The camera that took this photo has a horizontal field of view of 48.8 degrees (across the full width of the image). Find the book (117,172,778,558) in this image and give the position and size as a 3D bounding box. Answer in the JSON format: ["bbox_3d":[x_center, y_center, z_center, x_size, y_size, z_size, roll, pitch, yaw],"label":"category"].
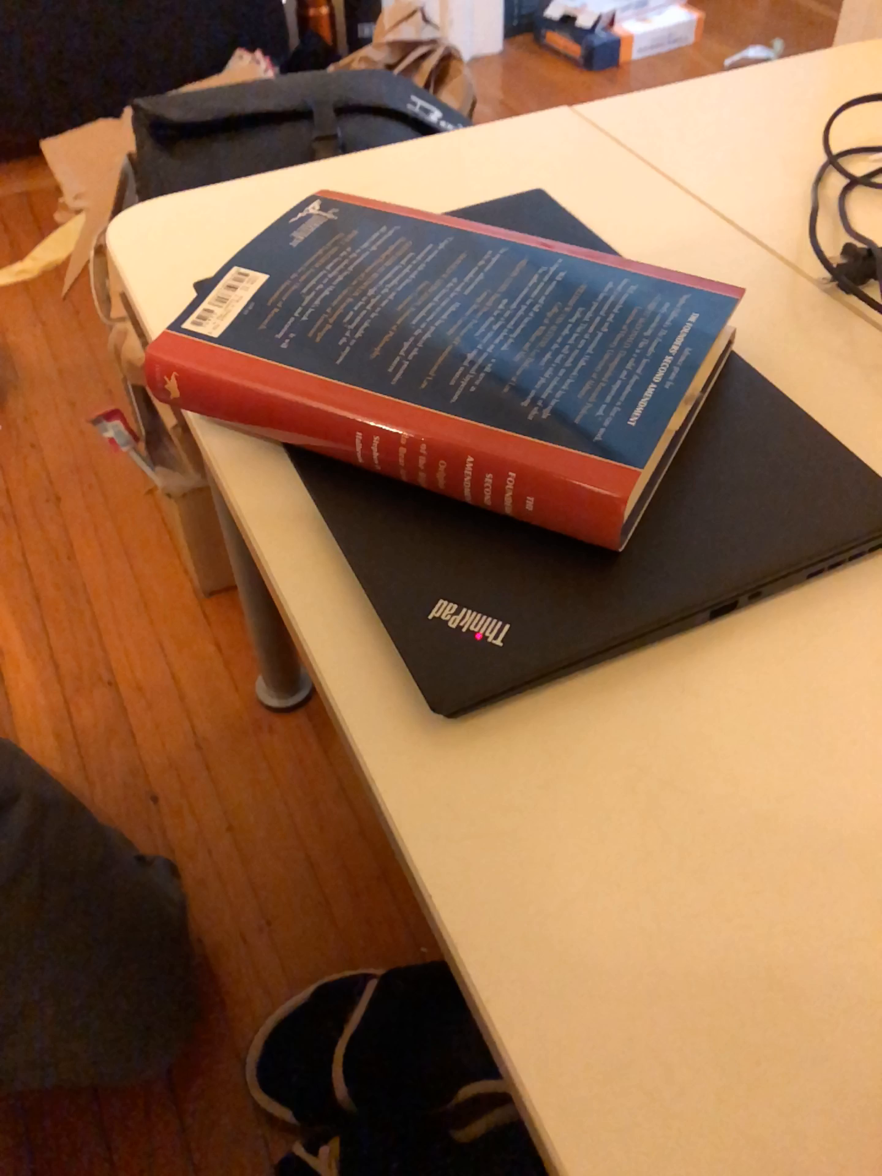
[{"bbox_3d":[0.006,-0.118,0.443,0.240,0.040,0.171,20,50,22],"label":"book"}]
